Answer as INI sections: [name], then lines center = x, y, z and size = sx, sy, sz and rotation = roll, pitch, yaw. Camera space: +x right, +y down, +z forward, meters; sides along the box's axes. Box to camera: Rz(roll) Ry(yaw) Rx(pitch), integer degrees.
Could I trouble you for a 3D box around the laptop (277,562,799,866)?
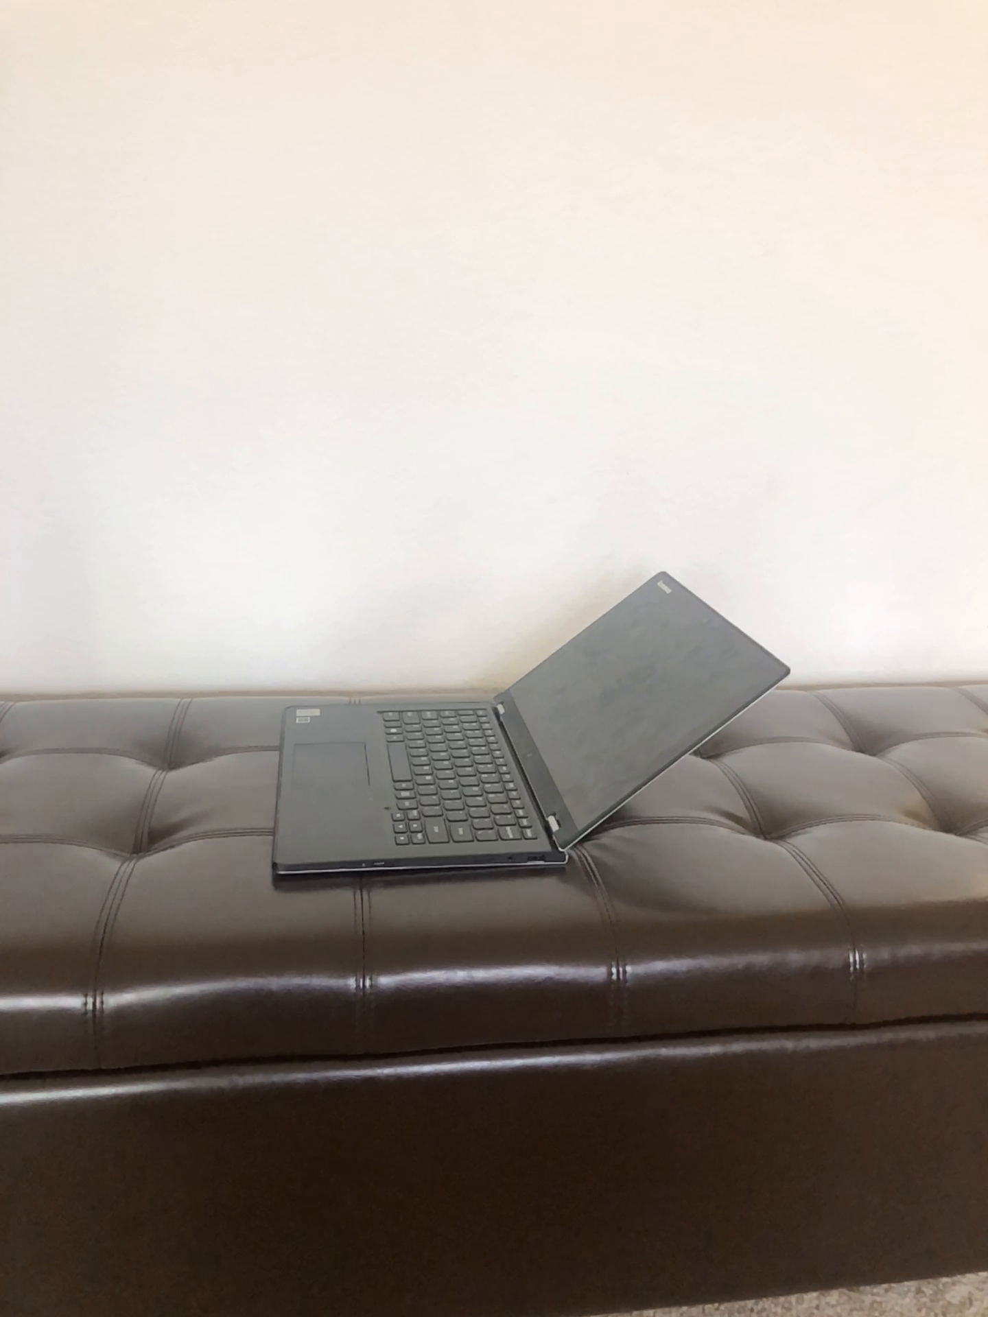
[laptop]
center = 0.008, 0.022, 0.784
size = 0.317, 0.115, 0.262
rotation = -2, 18, -9
